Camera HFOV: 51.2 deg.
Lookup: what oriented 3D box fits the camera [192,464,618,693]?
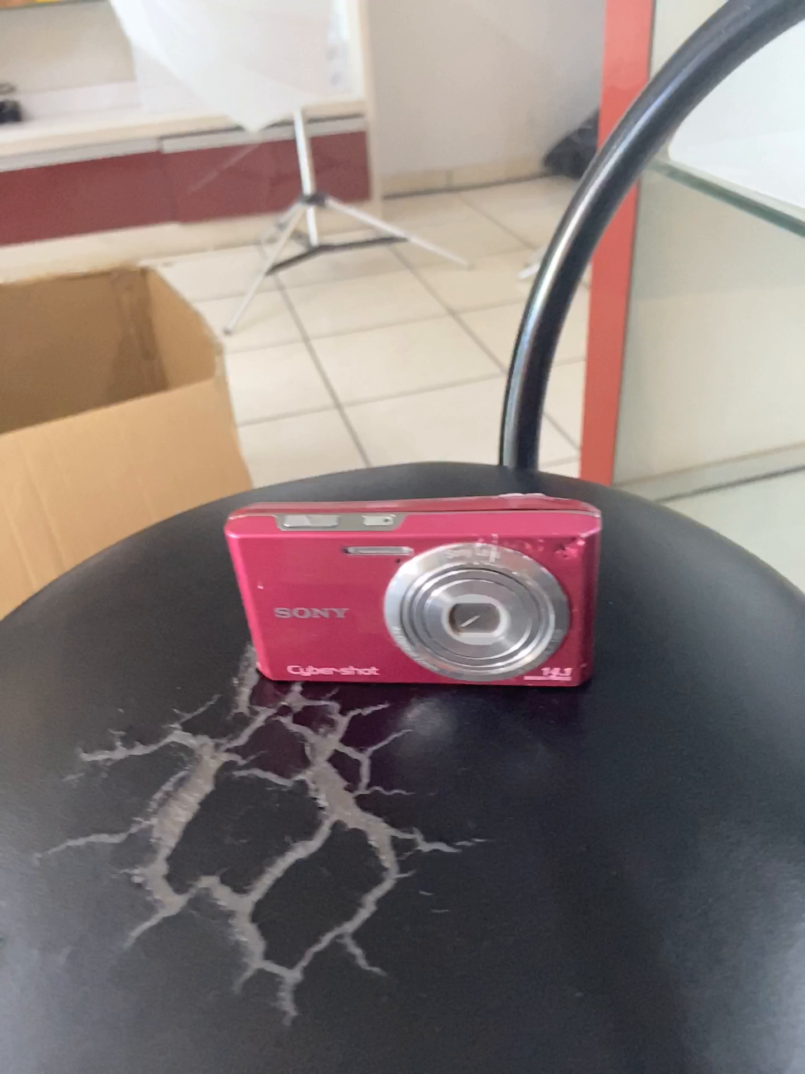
[{"bbox_3d":[0.003,0.011,0.221,0.100,0.050,0.030,-1,35,10],"label":"camera"}]
